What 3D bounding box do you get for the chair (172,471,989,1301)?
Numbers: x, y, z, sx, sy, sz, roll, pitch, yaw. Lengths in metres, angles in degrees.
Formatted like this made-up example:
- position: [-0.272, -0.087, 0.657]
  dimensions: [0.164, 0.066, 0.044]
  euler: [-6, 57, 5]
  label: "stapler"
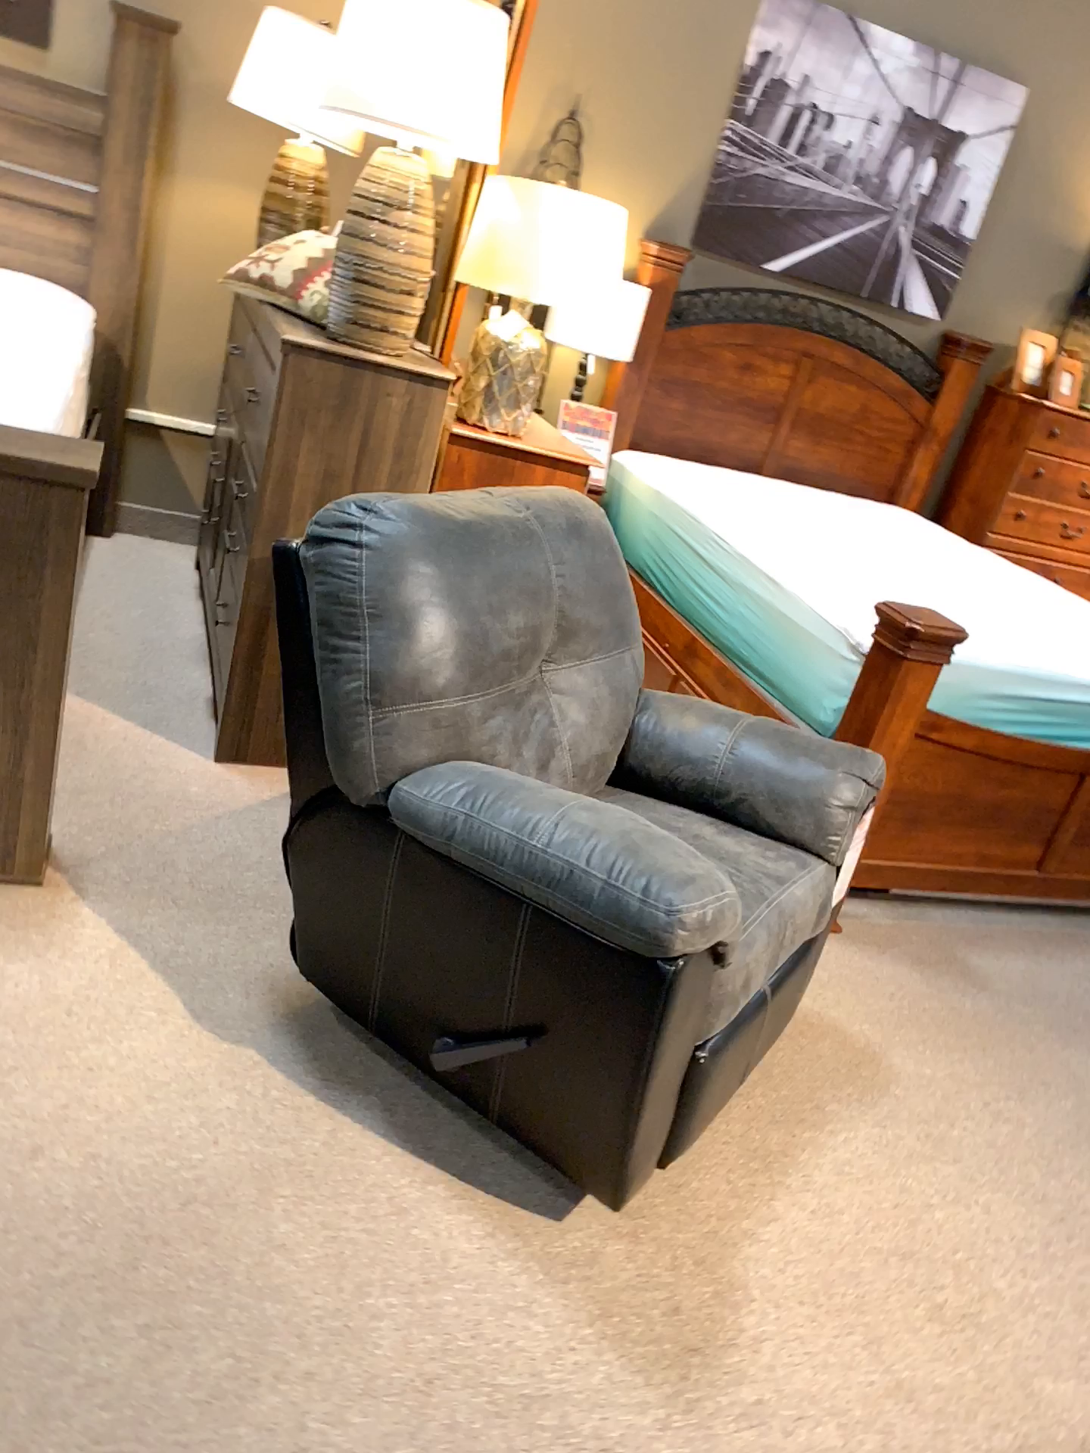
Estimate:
- position: [0.081, 0.136, 2.039]
  dimensions: [0.905, 0.923, 0.992]
  euler: [28, 25, 25]
  label: "chair"
